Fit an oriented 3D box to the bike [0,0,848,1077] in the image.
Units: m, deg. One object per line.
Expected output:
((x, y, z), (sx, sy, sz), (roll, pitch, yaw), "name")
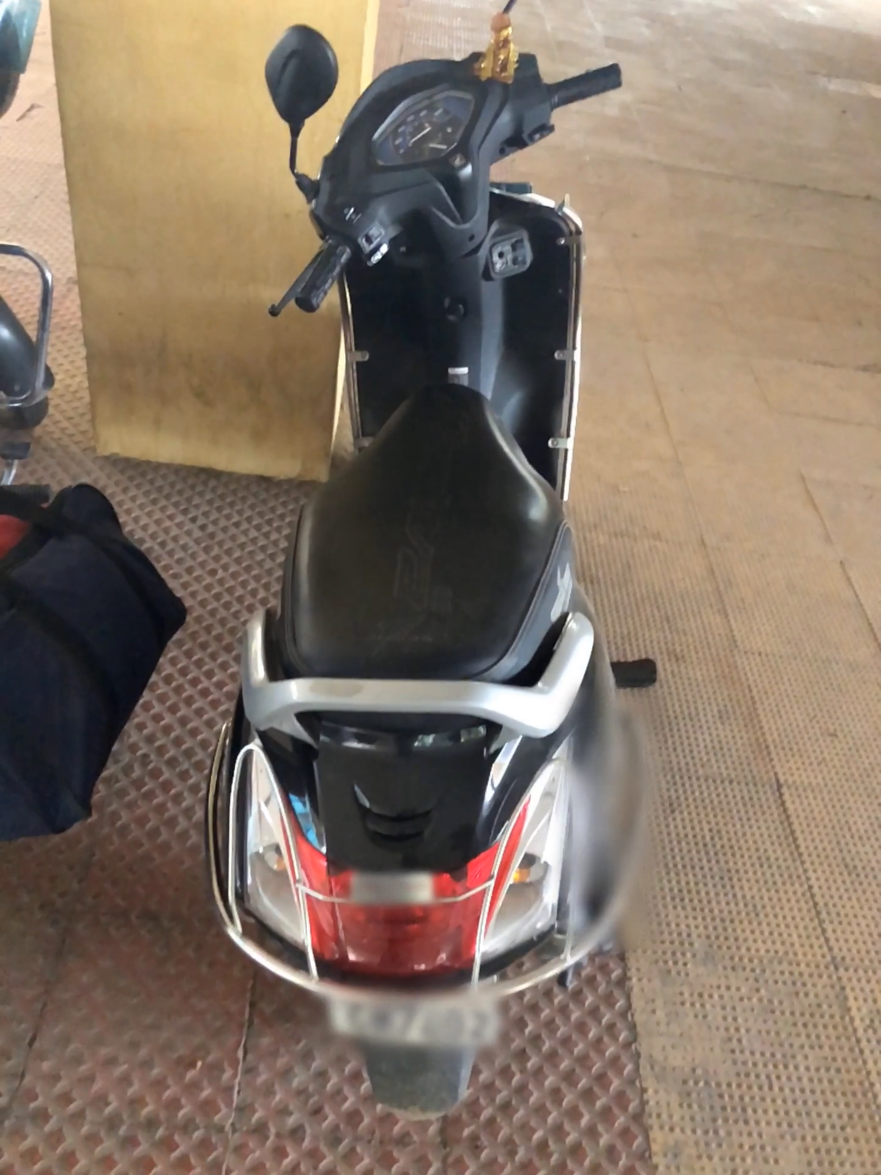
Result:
((-0.156, -0.315, 1.510), (0.621, 0.882, 1.668), (4, 43, -8), "bike")
